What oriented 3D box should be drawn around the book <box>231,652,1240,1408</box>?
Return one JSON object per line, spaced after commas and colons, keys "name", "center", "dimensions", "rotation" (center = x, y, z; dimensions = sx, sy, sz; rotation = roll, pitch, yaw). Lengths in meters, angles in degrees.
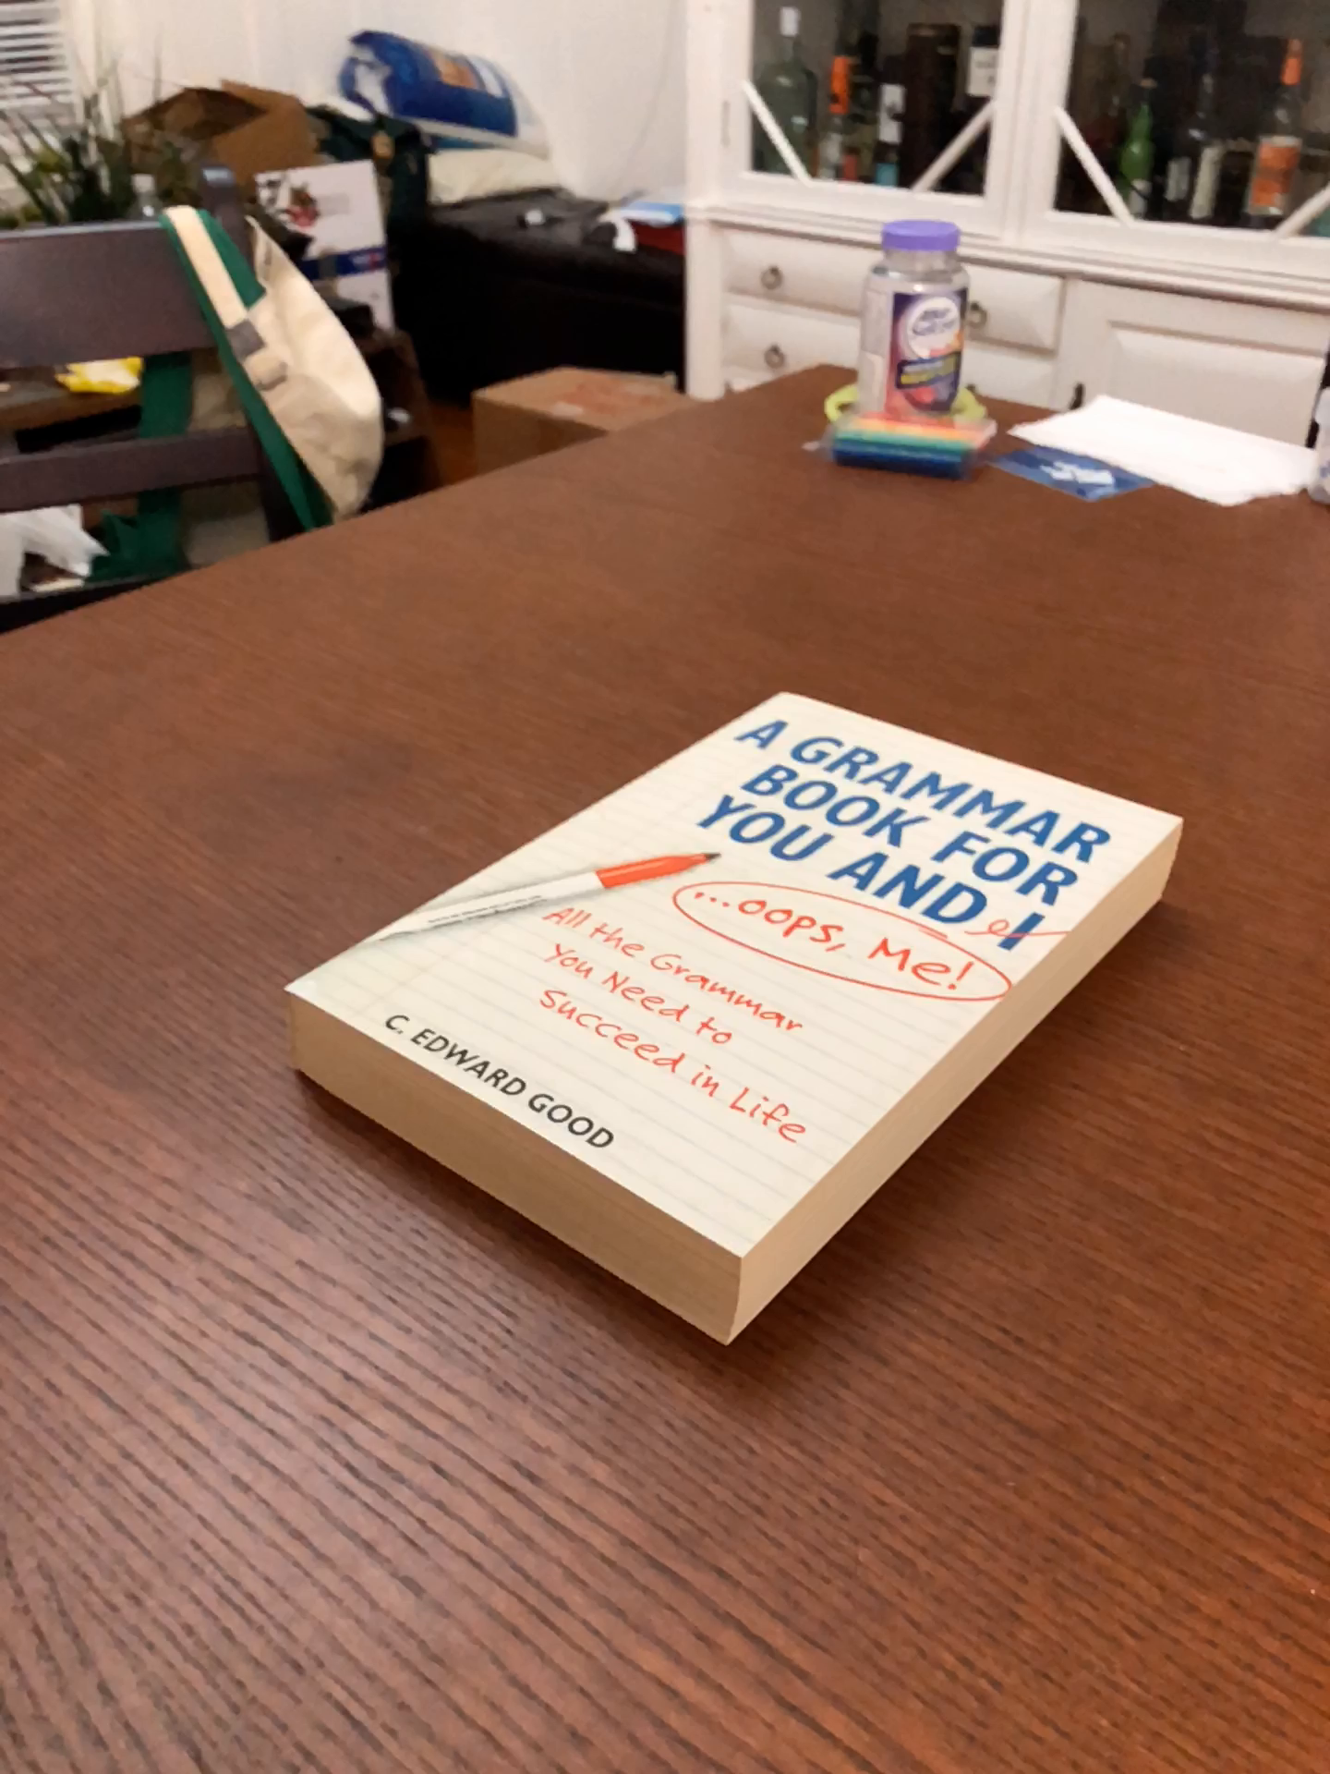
{"name": "book", "center": [0.031, 0.012, 0.421], "dimensions": [0.170, 0.040, 0.241], "rotation": [24, 40, 33]}
